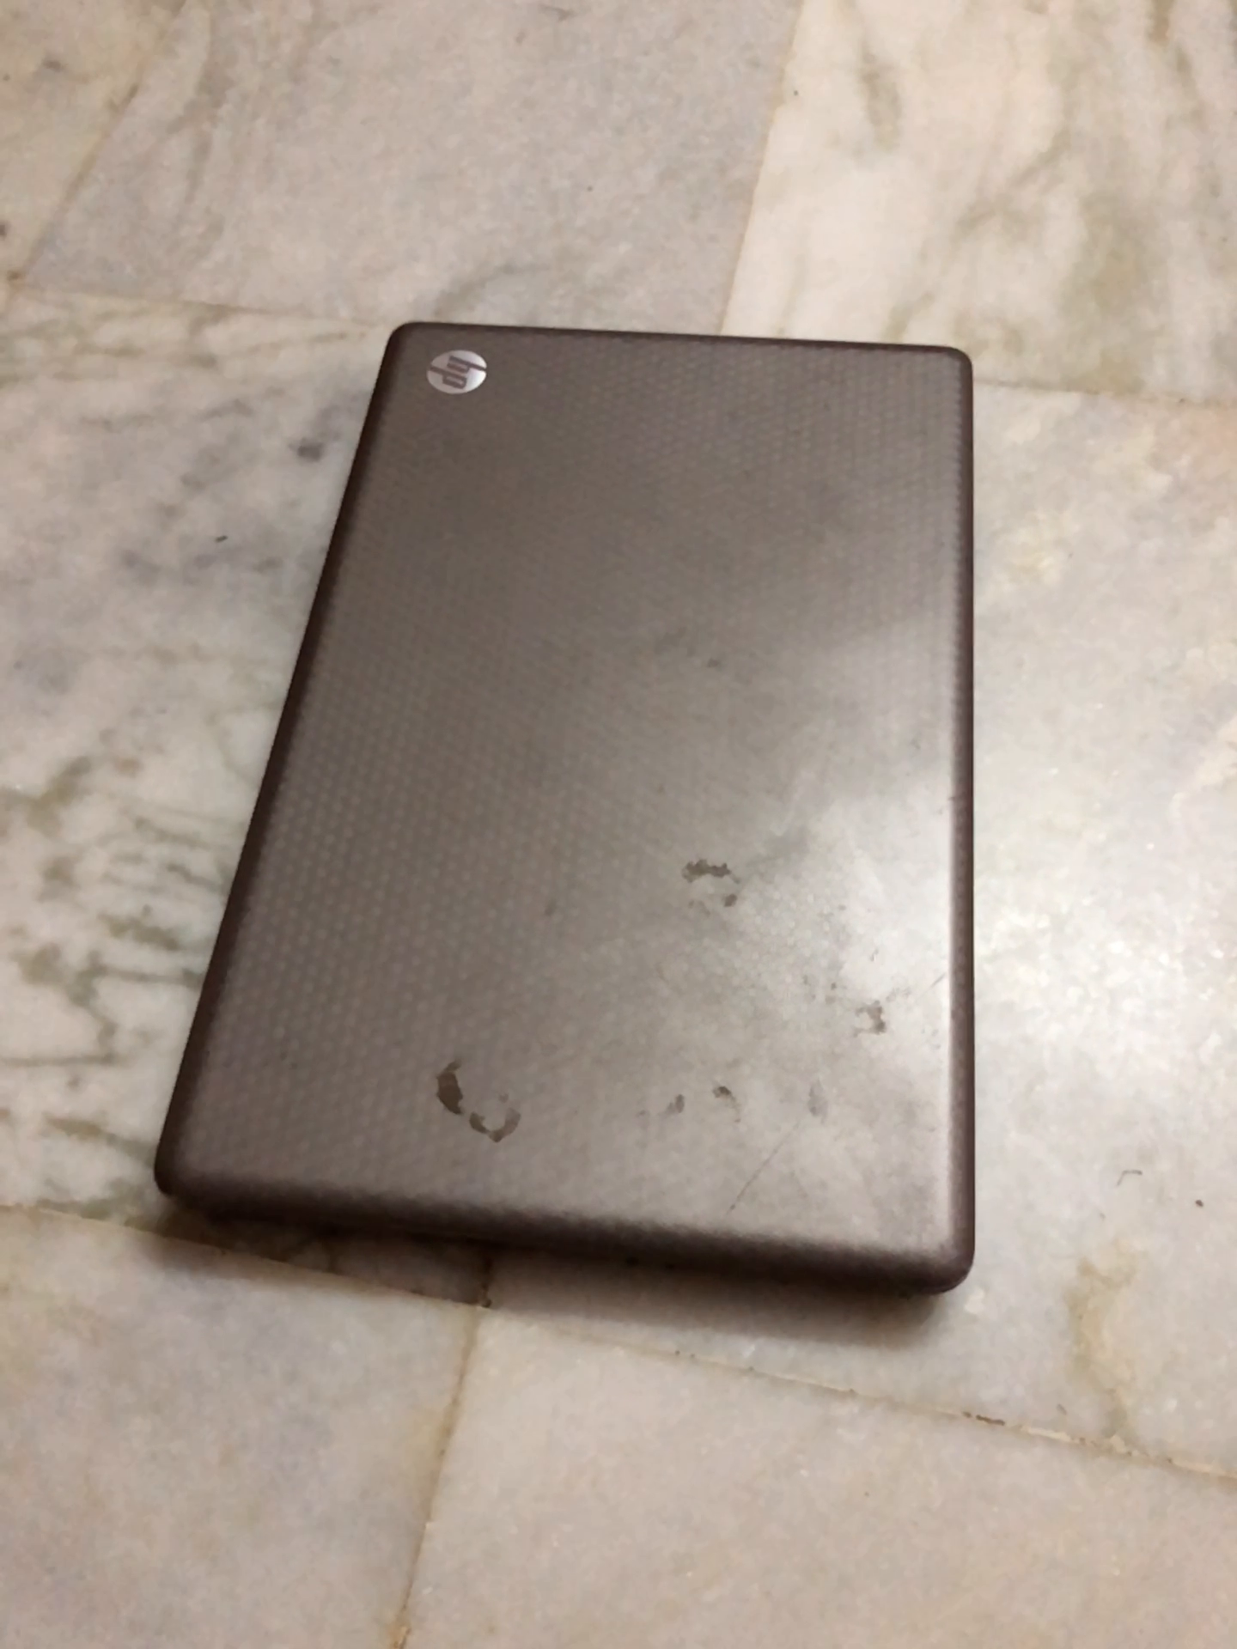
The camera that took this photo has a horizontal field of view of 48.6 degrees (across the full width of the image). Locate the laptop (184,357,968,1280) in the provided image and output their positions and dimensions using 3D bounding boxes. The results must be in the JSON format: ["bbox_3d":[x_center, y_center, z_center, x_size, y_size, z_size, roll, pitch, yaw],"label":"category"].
[{"bbox_3d":[0.005,-0.036,0.525,0.248,0.002,0.379,5,63,7],"label":"laptop"}]
